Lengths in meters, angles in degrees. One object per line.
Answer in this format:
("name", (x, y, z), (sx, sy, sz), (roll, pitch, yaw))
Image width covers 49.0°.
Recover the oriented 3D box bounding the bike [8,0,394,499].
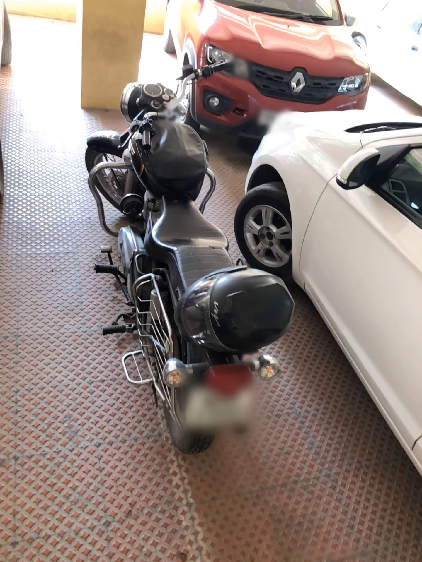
("bike", (-0.331, -0.270, 2.002), (0.692, 1.217, 1.791), (-8, 48, -25))
